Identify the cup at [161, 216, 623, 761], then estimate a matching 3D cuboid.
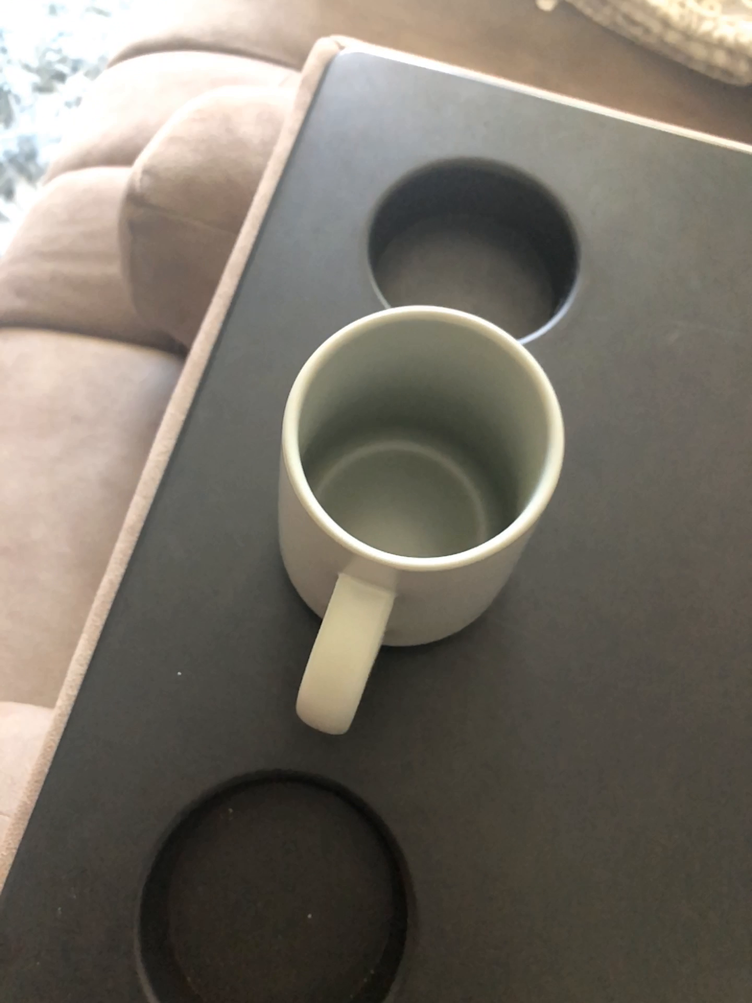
[{"bbox_3d":[0.008,0.006,0.293,0.086,0.122,0.137,20,73,6],"label":"cup"}]
